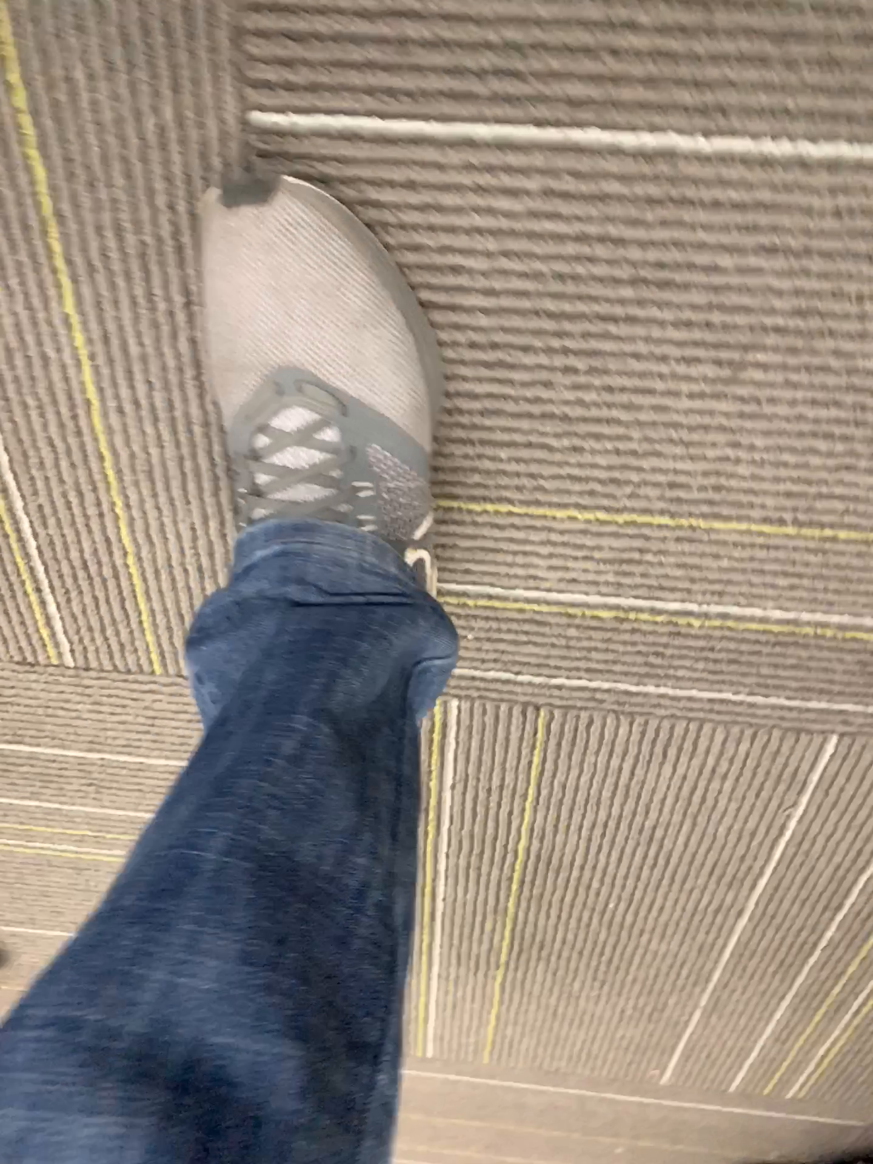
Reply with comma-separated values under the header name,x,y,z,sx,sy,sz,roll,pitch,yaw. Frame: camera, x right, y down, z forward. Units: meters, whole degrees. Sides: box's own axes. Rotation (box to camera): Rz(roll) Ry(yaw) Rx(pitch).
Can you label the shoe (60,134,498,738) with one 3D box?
name,x,y,z,sx,sy,sz,roll,pitch,yaw
shoe,-0.056,-0.054,0.482,0.128,0.092,0.301,-6,130,12
